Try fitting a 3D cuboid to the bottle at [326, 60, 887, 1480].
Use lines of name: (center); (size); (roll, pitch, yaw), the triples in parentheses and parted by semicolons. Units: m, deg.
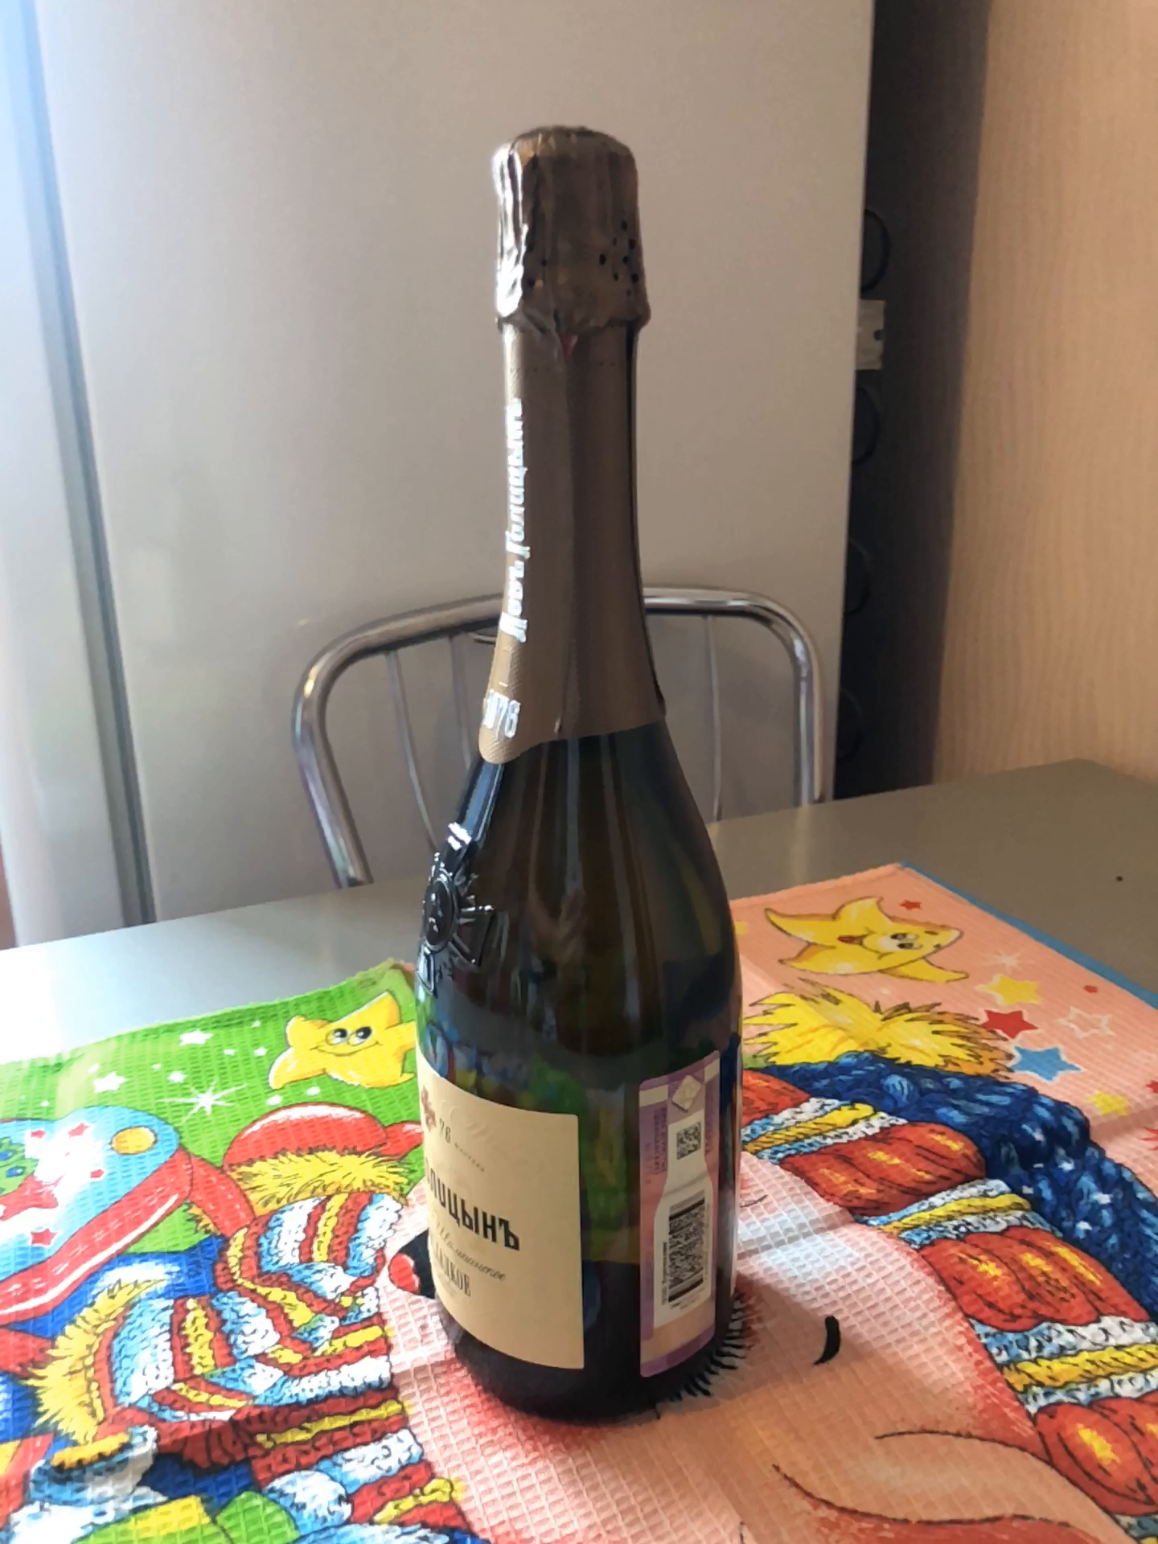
bottle: (0.003, 0.007, 0.320); (0.093, 0.309, 0.090); (-1, 18, 0)
